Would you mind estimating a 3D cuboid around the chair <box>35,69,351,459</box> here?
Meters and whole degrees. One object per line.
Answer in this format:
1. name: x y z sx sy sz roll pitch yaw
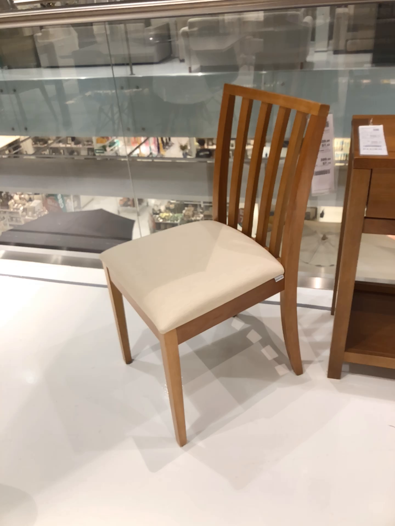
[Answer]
1. chair: -0.008 -0.038 1.257 0.551 0.833 0.543 -22 36 -24
